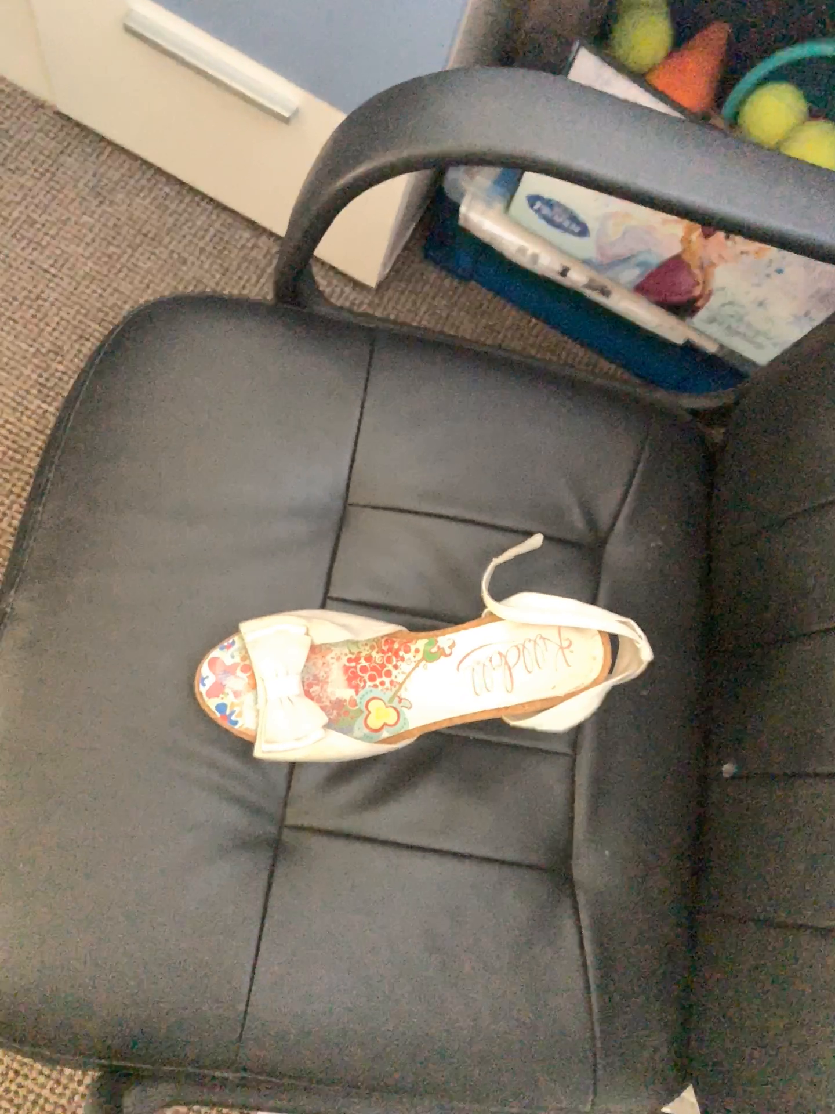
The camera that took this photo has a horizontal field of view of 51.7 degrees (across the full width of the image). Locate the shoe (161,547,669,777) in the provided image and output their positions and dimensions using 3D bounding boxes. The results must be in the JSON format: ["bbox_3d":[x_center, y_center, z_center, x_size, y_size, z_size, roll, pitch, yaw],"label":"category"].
[{"bbox_3d":[-0.016,0.068,0.501,0.240,0.189,0.100,-1,76,-12],"label":"shoe"}]
